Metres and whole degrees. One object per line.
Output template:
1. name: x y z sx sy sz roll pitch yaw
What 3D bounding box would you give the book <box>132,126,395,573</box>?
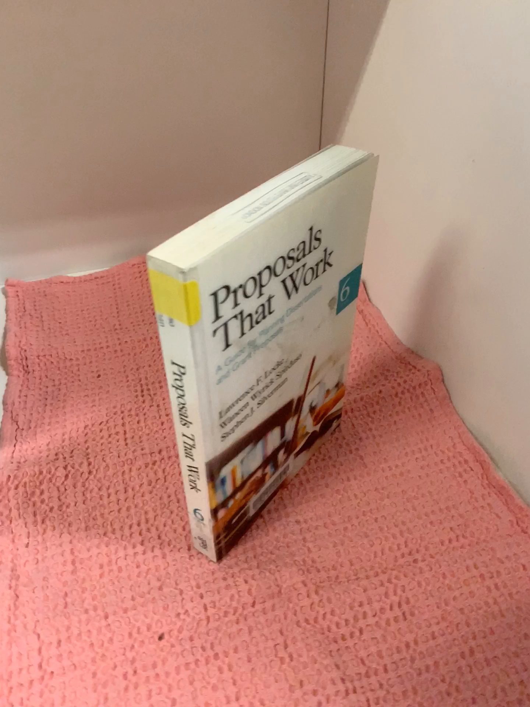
1. book: 0.011 0.004 0.351 0.030 0.238 0.181 26 47 27
